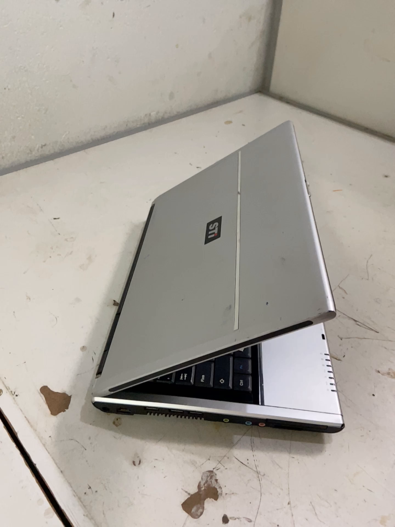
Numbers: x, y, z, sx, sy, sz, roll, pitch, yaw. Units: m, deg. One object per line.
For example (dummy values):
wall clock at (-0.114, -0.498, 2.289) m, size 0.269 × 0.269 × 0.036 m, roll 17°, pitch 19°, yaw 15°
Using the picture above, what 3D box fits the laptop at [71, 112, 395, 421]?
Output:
laptop at (0.037, -0.027, 0.444) m, size 0.226 × 0.144 × 0.321 m, roll 5°, pitch 41°, yaw 3°
